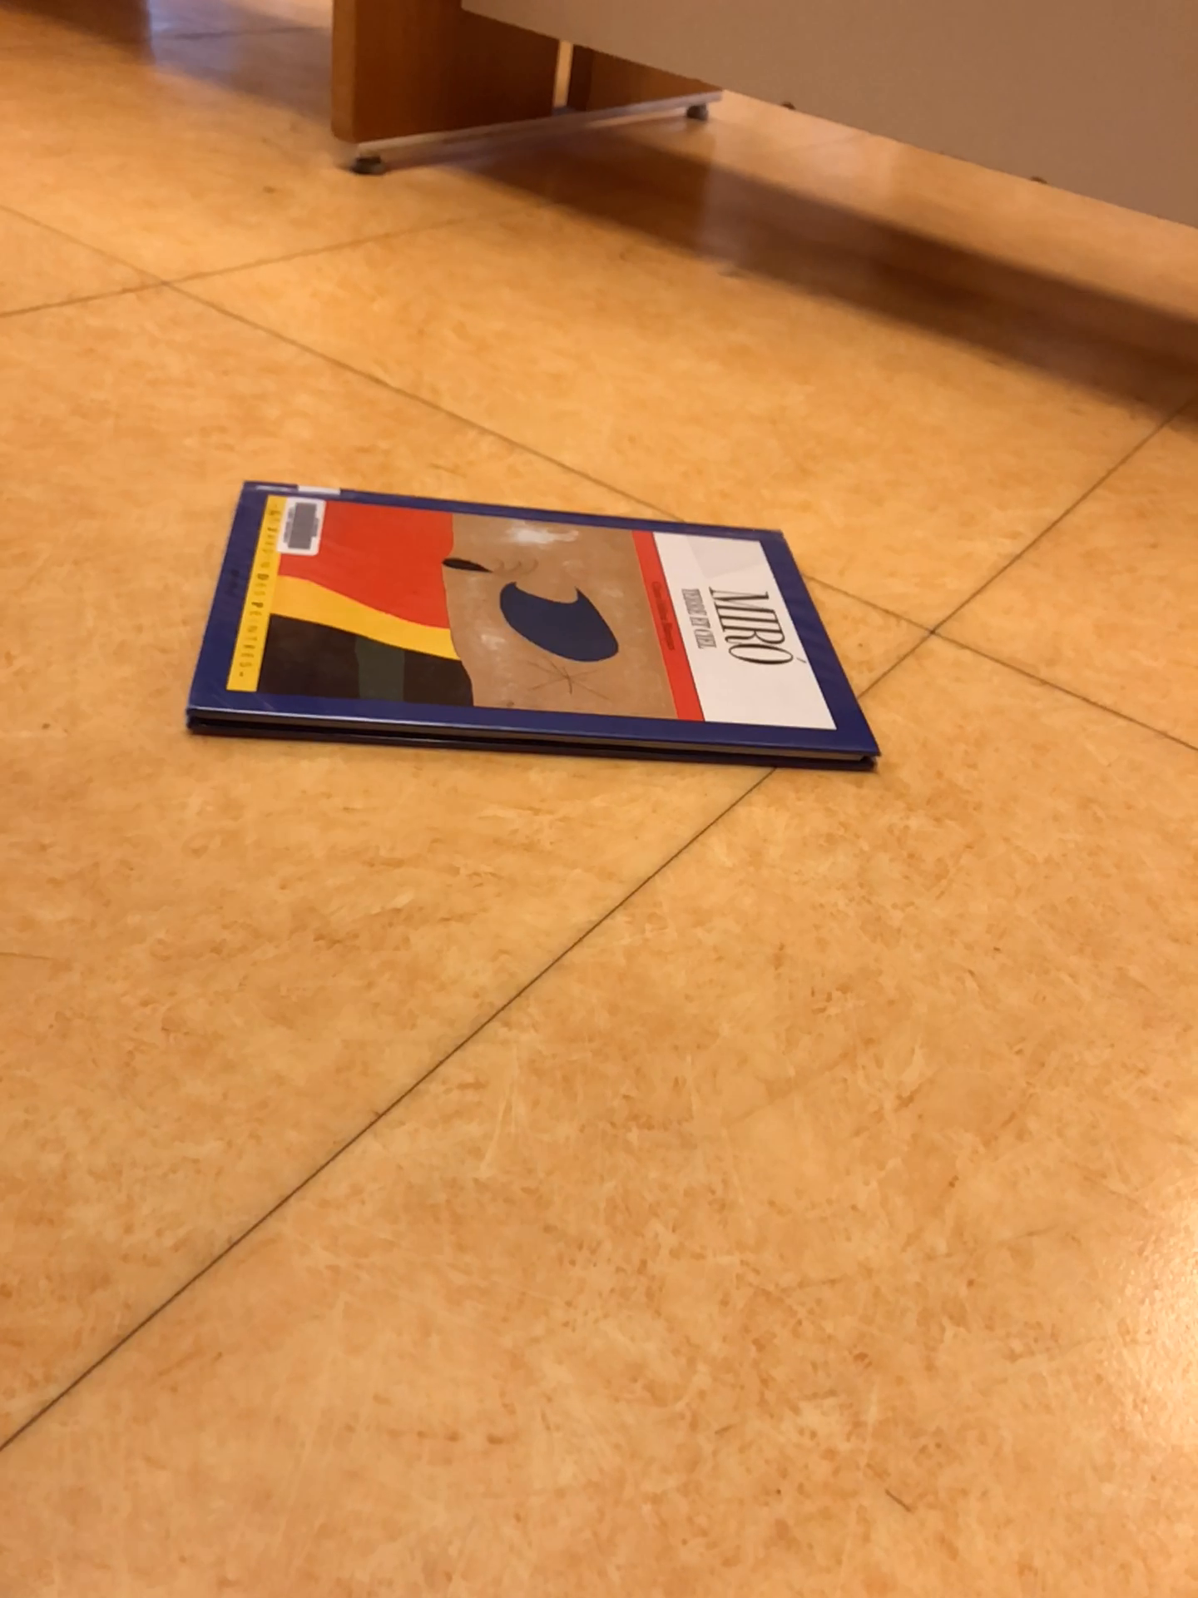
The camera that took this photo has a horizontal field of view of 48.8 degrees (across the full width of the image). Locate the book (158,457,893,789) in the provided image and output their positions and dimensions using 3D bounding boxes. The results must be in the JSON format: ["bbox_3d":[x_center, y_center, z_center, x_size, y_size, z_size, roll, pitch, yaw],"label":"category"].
[{"bbox_3d":[-0.029,-0.073,0.512,0.245,0.020,0.178,3,38,-11],"label":"book"}]
